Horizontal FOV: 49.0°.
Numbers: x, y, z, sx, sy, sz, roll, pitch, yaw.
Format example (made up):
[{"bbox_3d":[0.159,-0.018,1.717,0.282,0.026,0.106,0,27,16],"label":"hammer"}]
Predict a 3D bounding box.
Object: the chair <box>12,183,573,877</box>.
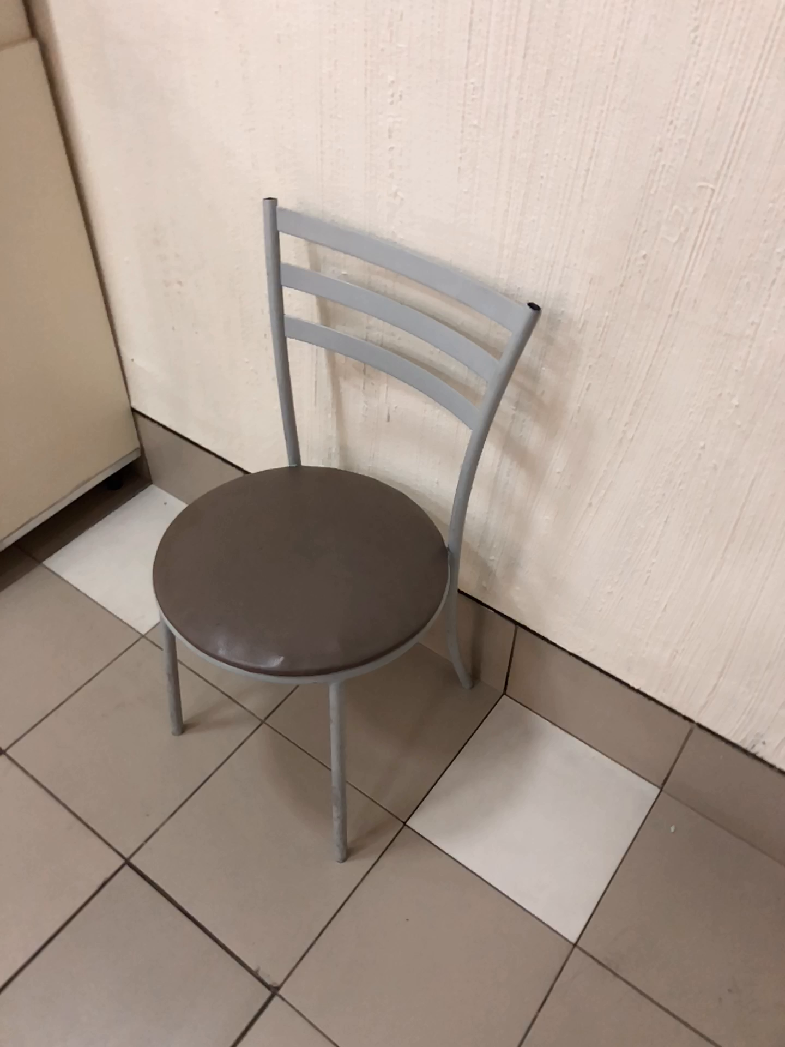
[{"bbox_3d":[-0.104,0.033,1.196,0.431,0.765,0.422,28,50,24],"label":"chair"}]
